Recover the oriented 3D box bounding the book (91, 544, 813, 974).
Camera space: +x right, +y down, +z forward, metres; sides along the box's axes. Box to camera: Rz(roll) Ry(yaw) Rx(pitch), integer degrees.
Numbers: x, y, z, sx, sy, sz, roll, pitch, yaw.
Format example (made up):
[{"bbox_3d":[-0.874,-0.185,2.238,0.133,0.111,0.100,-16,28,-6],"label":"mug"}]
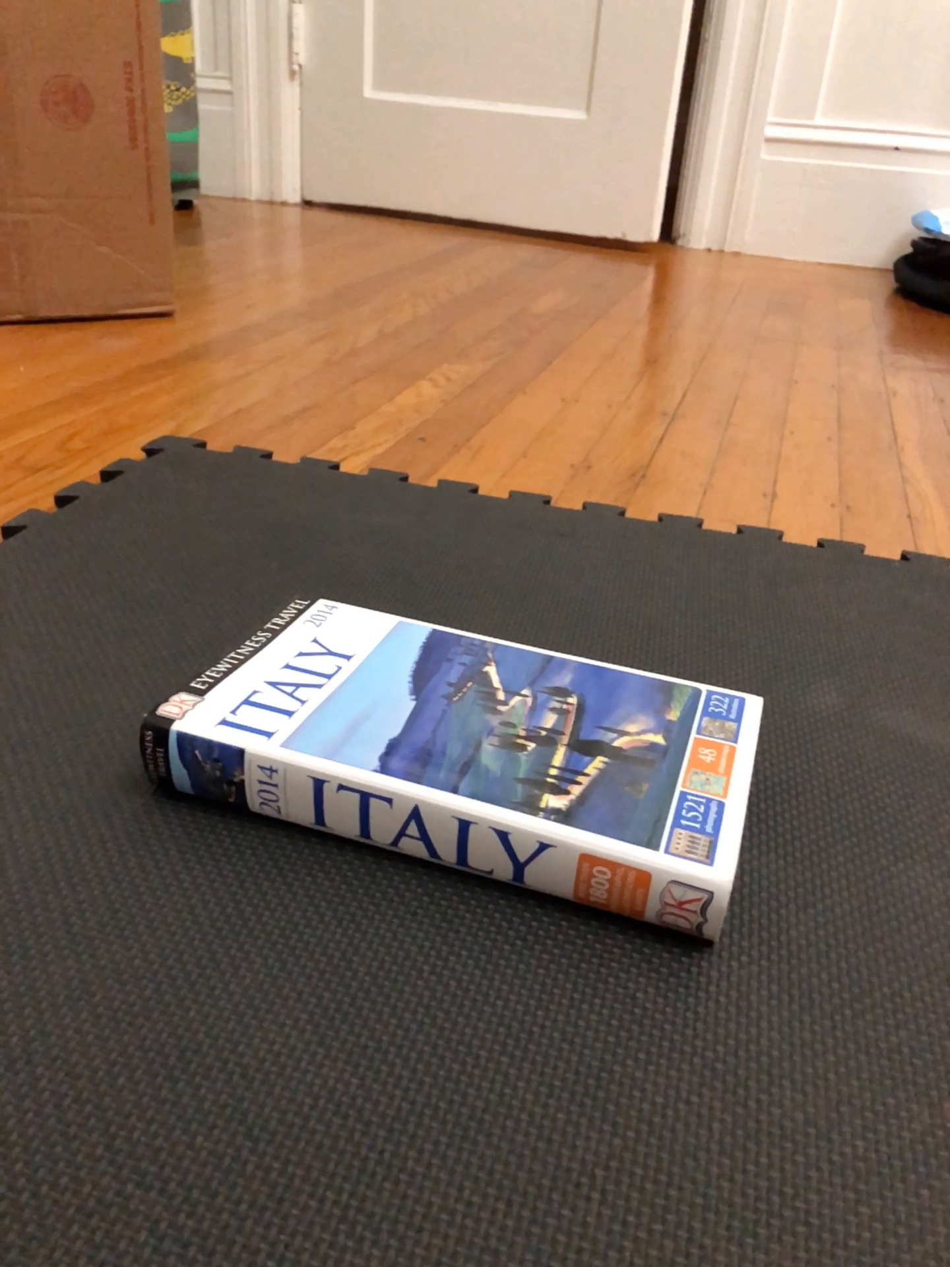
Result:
[{"bbox_3d":[0.004,0.033,0.424,0.250,0.040,0.161,11,29,13],"label":"book"}]
